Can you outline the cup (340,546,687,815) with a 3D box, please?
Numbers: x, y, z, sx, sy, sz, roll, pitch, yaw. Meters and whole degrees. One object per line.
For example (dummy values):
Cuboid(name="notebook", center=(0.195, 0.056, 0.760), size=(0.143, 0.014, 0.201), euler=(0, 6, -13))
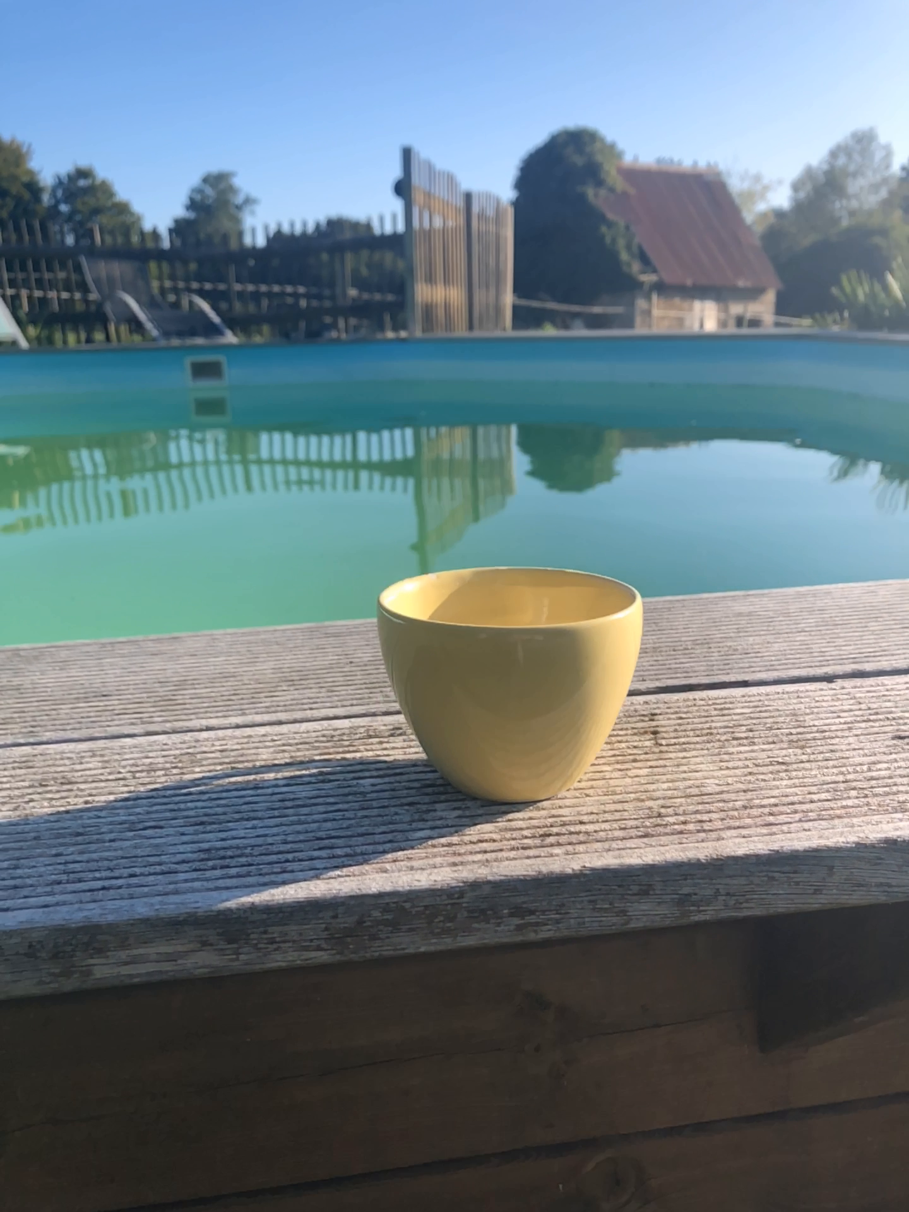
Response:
Cuboid(name="cup", center=(0.027, 0.018, 0.350), size=(0.089, 0.053, 0.112), euler=(4, 16, 20))
